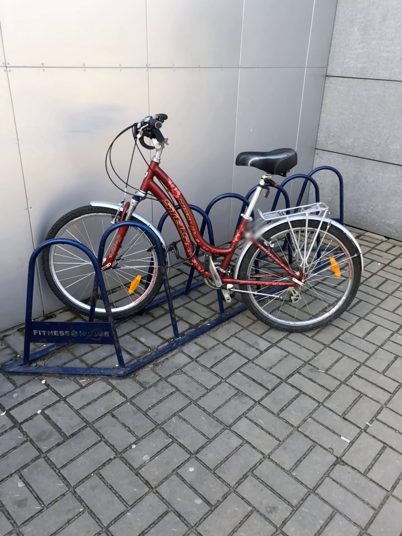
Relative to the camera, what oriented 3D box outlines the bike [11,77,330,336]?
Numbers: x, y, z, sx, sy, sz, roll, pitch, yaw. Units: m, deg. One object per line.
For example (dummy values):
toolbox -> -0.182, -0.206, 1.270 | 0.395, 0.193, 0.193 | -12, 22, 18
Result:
bike -> -0.148, -0.337, 2.247 | 1.304, 0.973, 0.599 | 7, 26, 1
